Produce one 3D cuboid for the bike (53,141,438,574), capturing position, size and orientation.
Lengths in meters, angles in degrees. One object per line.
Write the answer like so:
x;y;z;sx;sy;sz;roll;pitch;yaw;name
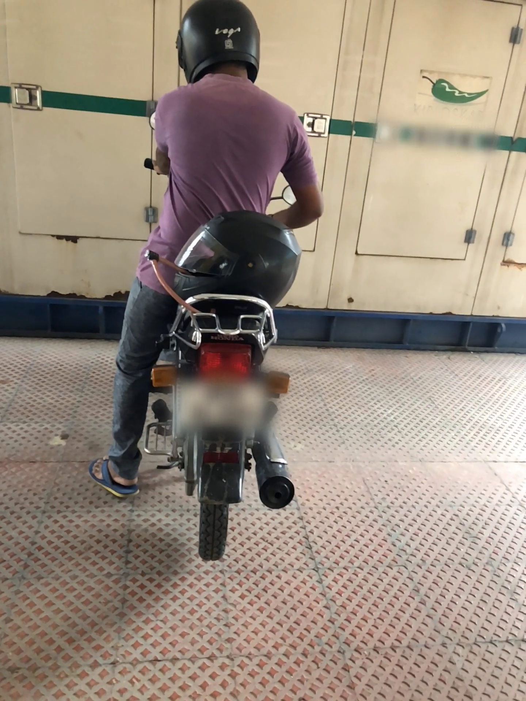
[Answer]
-0.028;-0.161;2.119;0.814;0.927;1.603;6;25;-2;bike
